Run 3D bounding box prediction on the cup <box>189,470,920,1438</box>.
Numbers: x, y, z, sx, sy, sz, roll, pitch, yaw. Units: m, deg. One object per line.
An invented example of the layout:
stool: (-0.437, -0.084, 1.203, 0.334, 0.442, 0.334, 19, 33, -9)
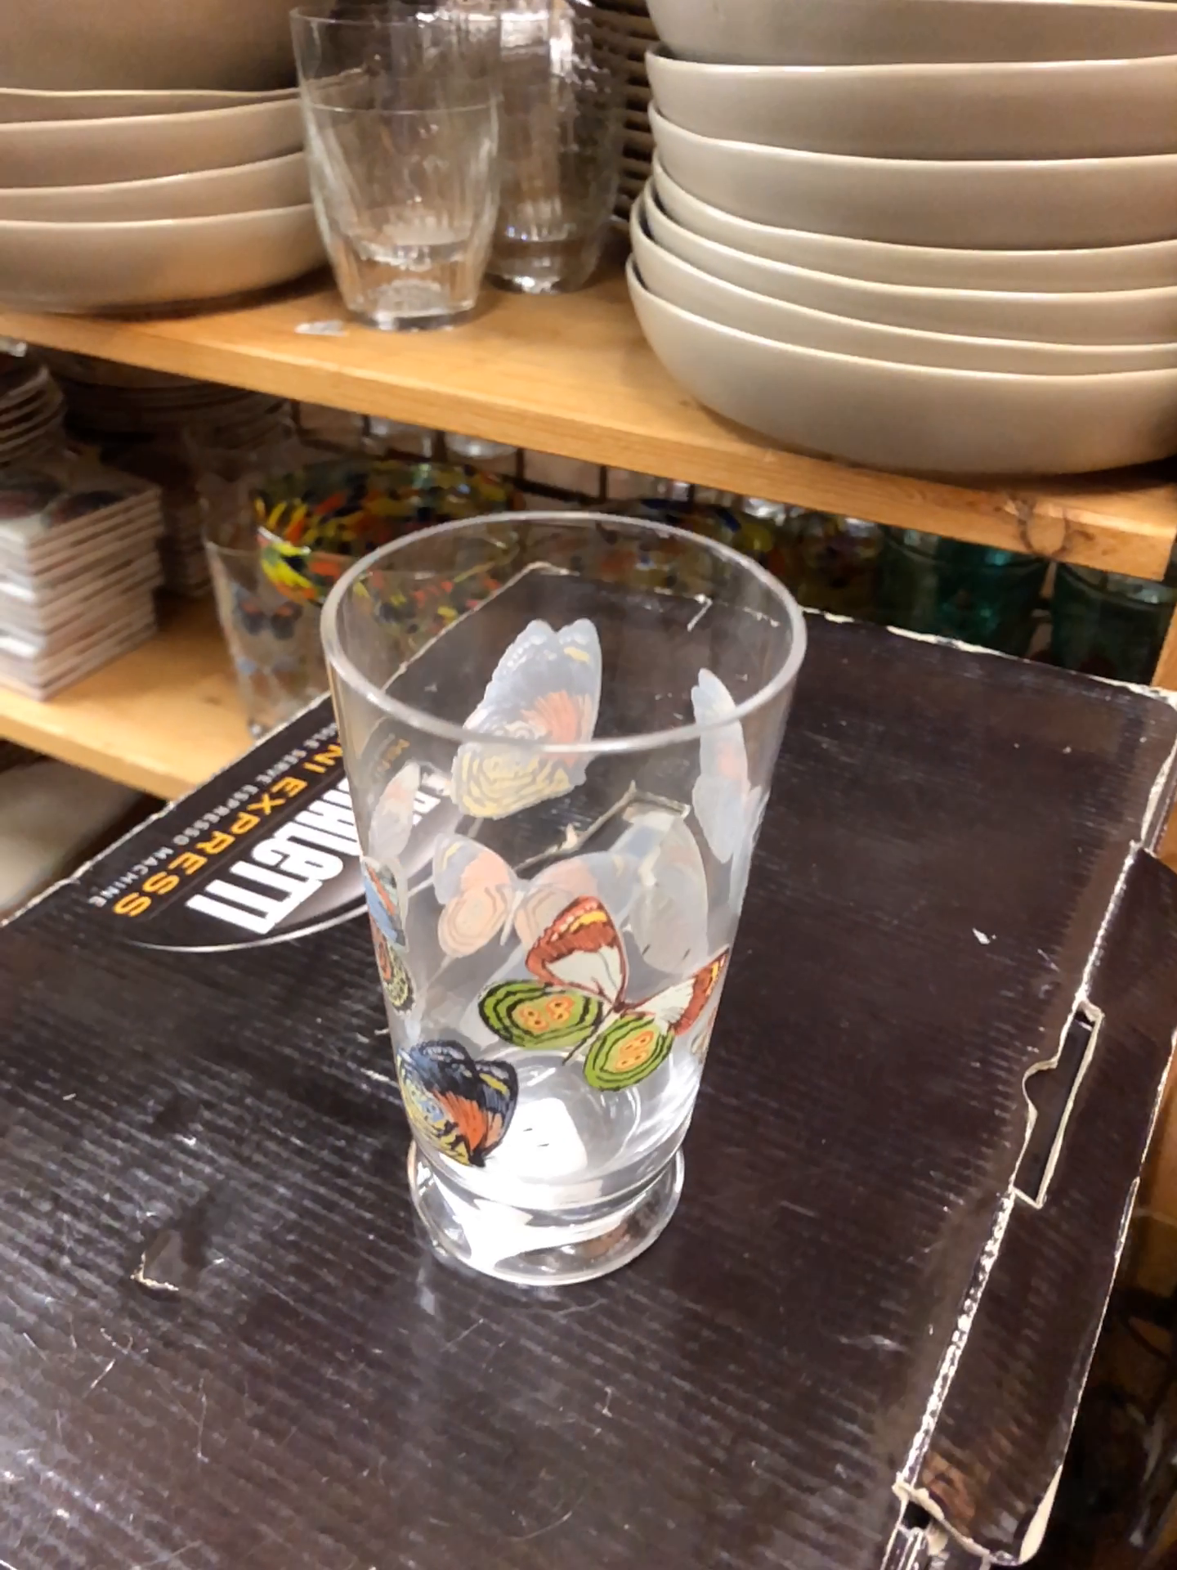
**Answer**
cup: (-0.003, 0.026, 0.225, 0.075, 0.125, 0.079, 1, 35, -1)
